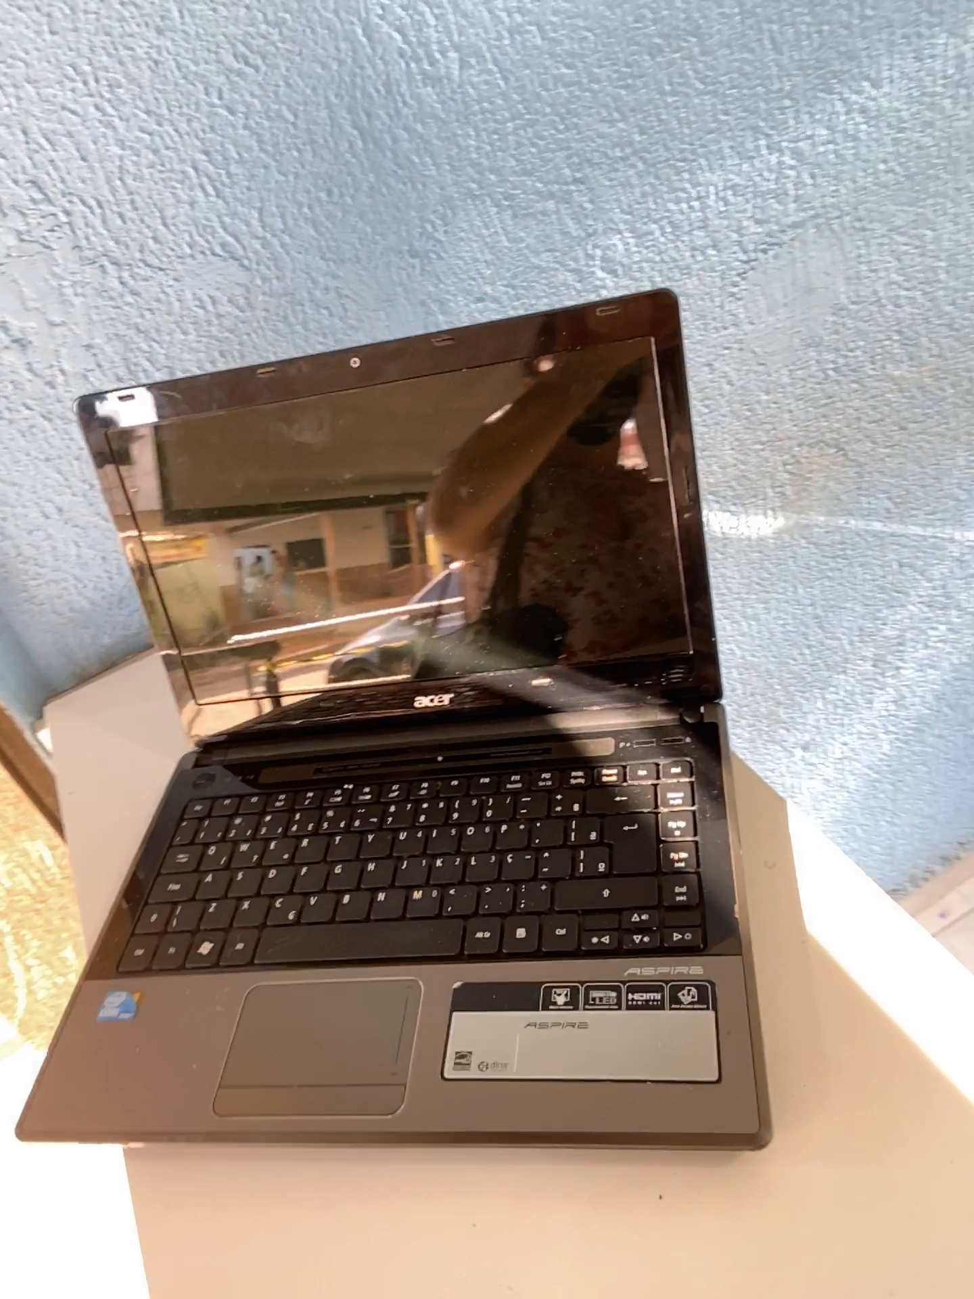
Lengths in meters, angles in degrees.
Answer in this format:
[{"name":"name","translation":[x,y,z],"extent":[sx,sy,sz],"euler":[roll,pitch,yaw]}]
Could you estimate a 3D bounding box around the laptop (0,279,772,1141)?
[{"name":"laptop","translation":[-0.062,0.022,0.475],"extent":[0.337,0.207,0.320],"euler":[-7,40,14]}]
